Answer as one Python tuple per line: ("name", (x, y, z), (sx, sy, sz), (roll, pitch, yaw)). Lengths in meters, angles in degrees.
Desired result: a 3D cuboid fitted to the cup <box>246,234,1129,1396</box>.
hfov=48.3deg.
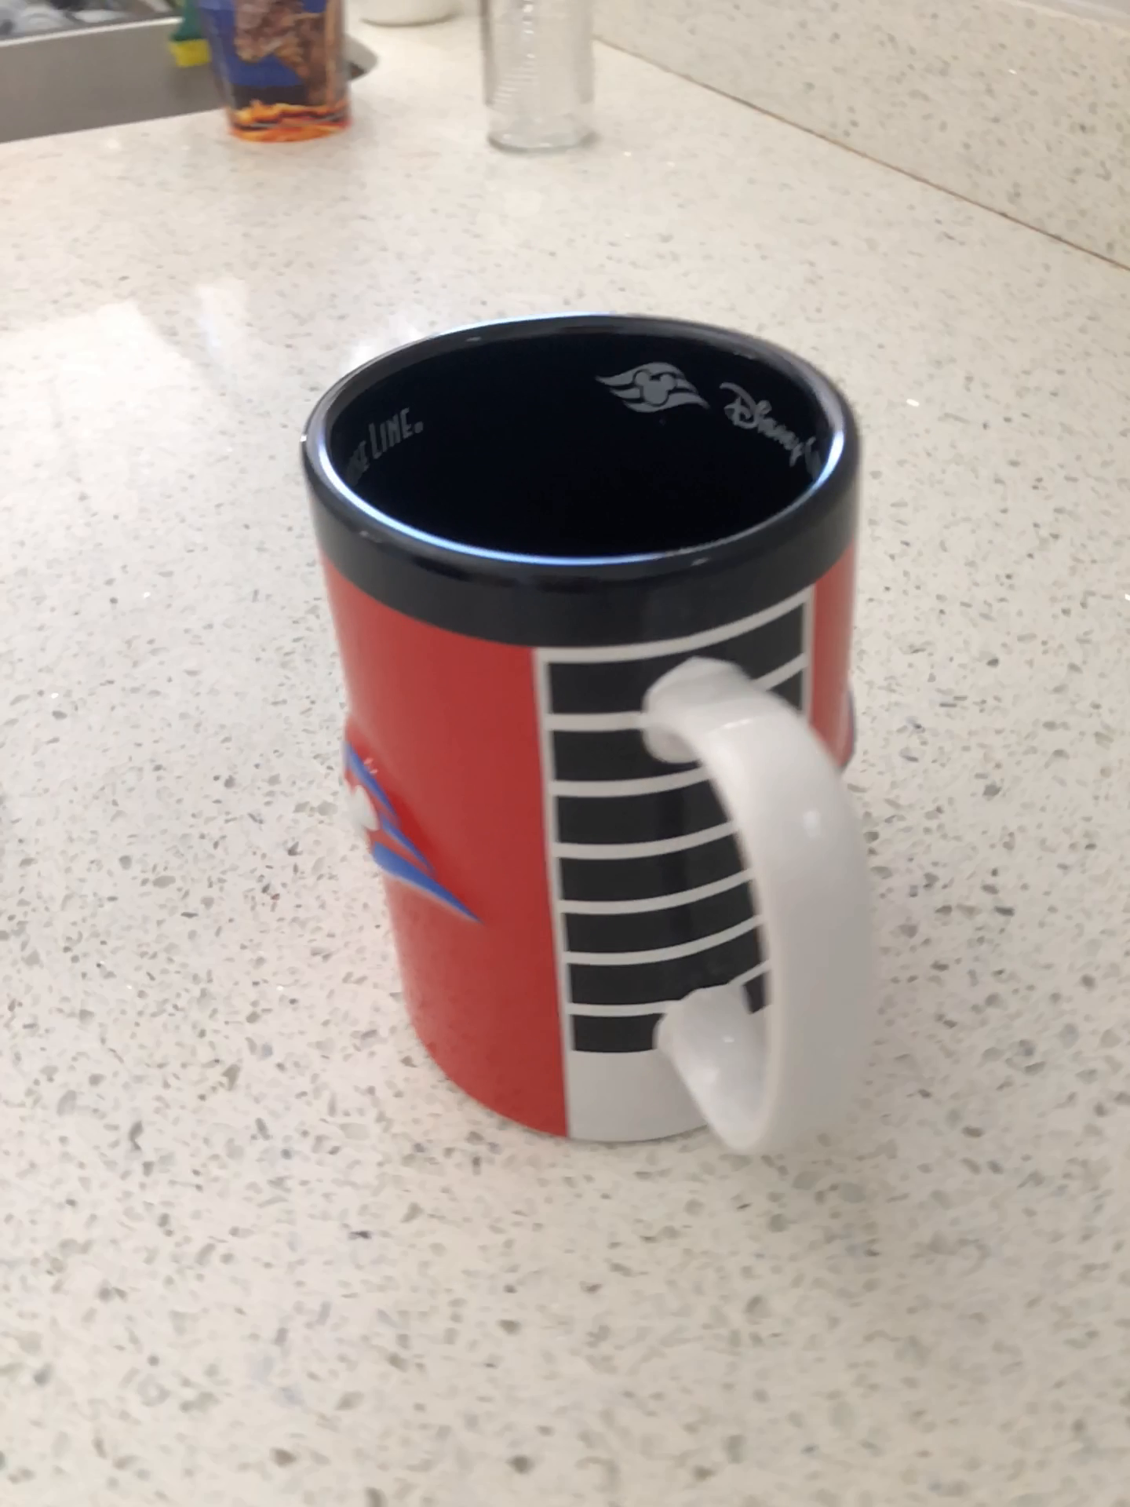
("cup", (0.014, 0.000, 0.201), (0.090, 0.110, 0.131), (-14, 42, -13))
